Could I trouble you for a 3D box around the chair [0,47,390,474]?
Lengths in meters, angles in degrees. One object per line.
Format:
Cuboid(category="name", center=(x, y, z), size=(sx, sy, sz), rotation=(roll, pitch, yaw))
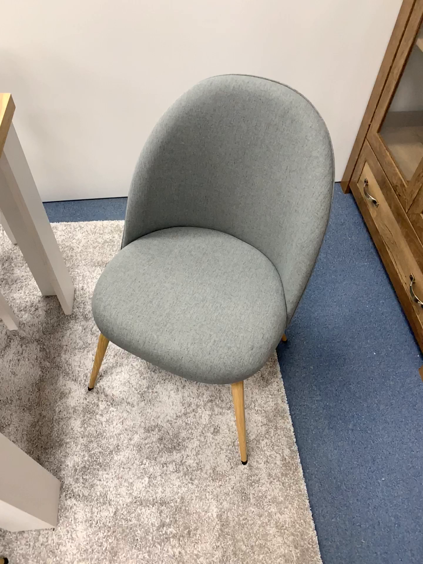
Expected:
Cuboid(category="chair", center=(-0.007, -0.017, 1.050), size=(0.530, 0.737, 0.572), rotation=(19, 54, 12))
